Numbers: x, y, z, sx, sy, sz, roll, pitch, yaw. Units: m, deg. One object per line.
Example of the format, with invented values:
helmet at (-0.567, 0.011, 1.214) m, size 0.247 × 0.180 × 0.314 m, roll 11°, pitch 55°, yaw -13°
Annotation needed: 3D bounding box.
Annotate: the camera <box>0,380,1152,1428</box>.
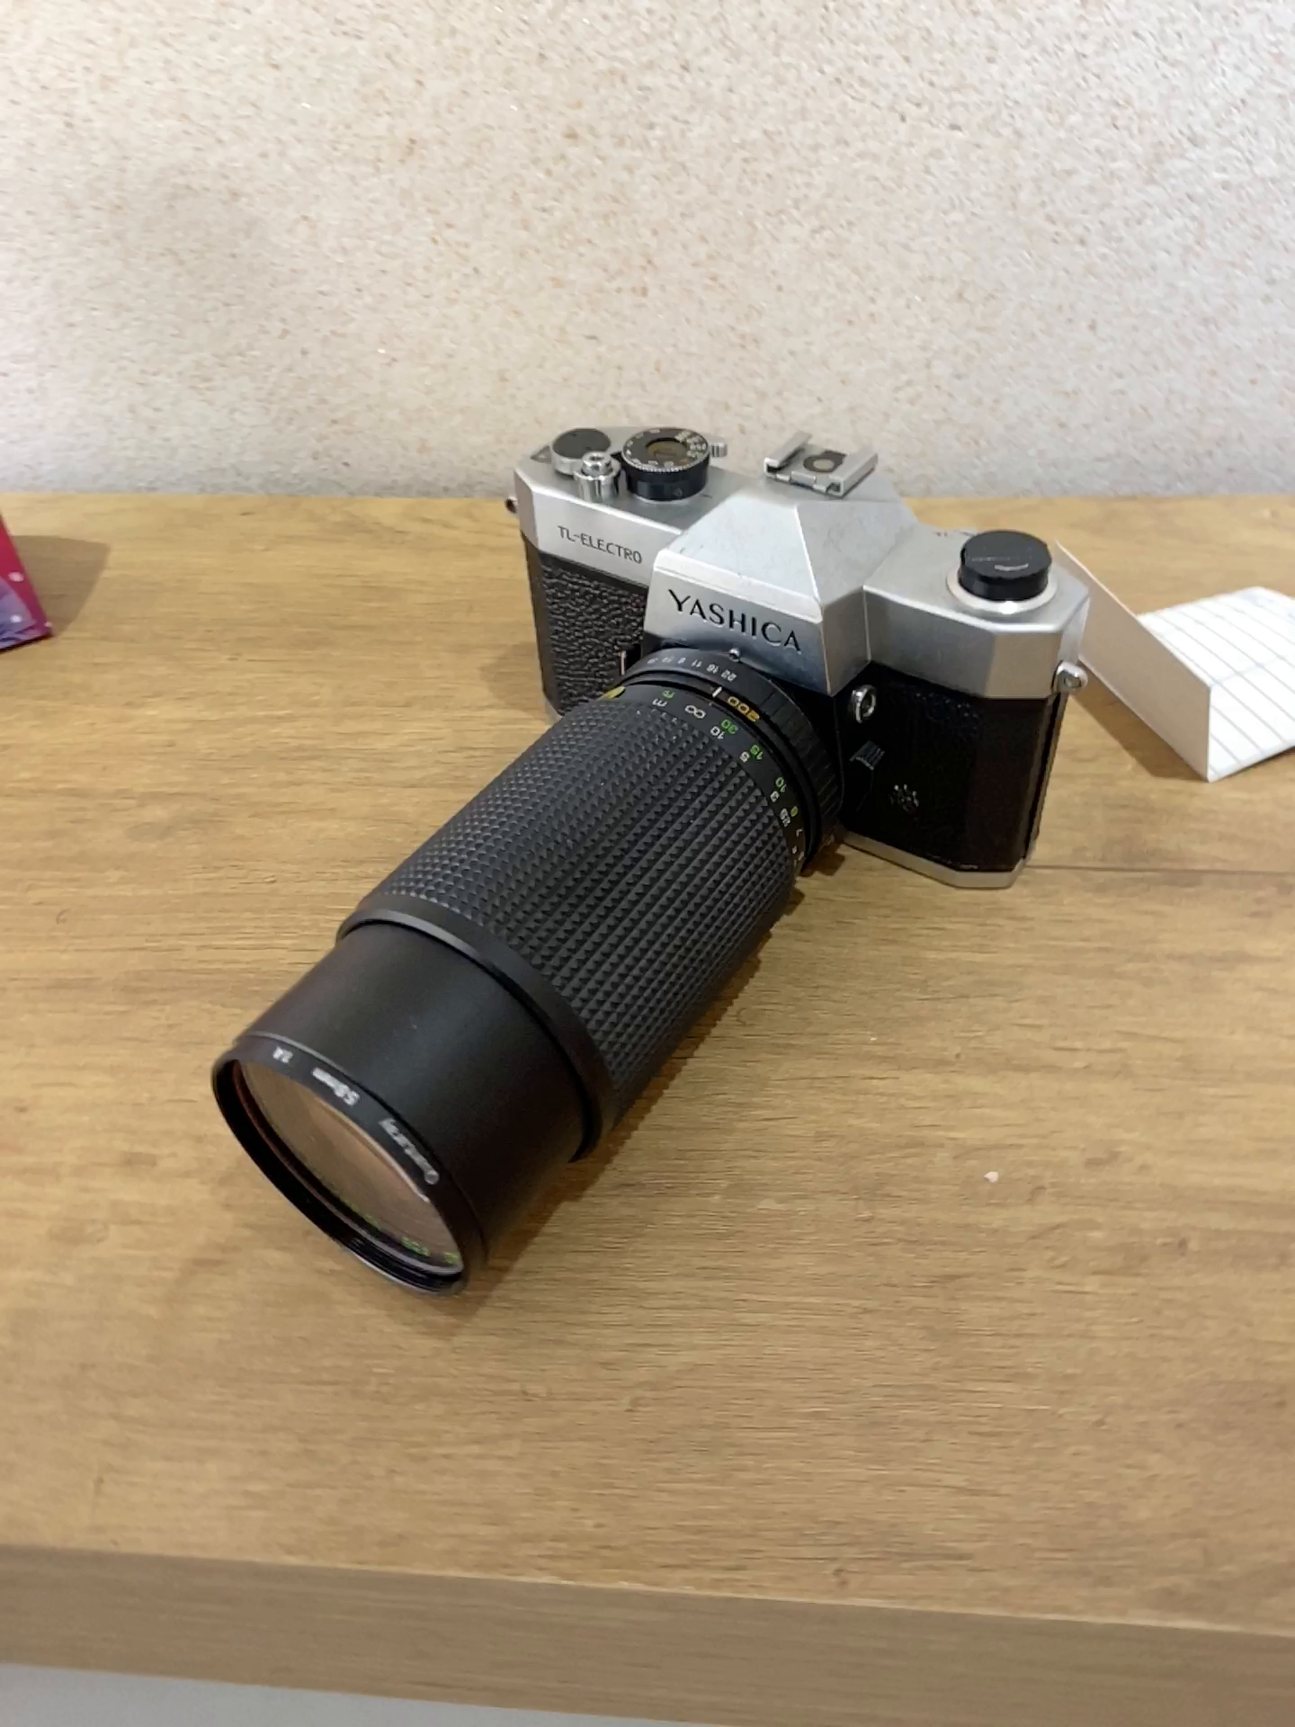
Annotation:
camera at (-0.008, -0.016, 0.300) m, size 0.150 × 0.080 × 0.201 m, roll 26°, pitch 52°, yaw 29°
